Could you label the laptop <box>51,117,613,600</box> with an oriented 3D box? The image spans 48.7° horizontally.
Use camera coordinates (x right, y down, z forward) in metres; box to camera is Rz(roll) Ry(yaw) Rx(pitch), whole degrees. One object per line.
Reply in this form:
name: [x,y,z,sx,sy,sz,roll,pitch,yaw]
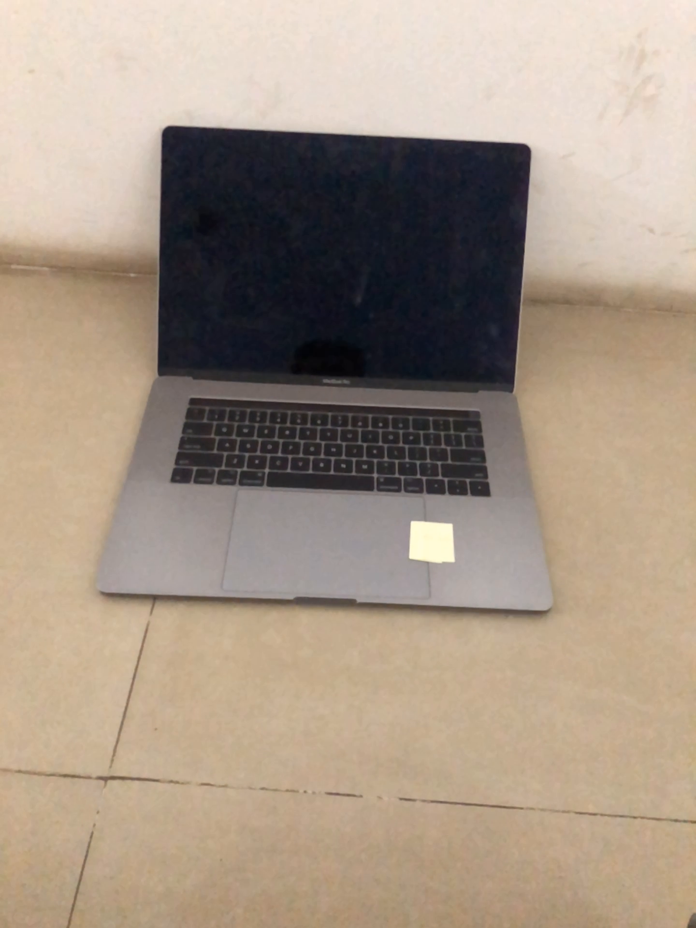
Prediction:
laptop: [-0.008,-0.106,0.633,0.329,0.162,0.382,3,49,-1]
